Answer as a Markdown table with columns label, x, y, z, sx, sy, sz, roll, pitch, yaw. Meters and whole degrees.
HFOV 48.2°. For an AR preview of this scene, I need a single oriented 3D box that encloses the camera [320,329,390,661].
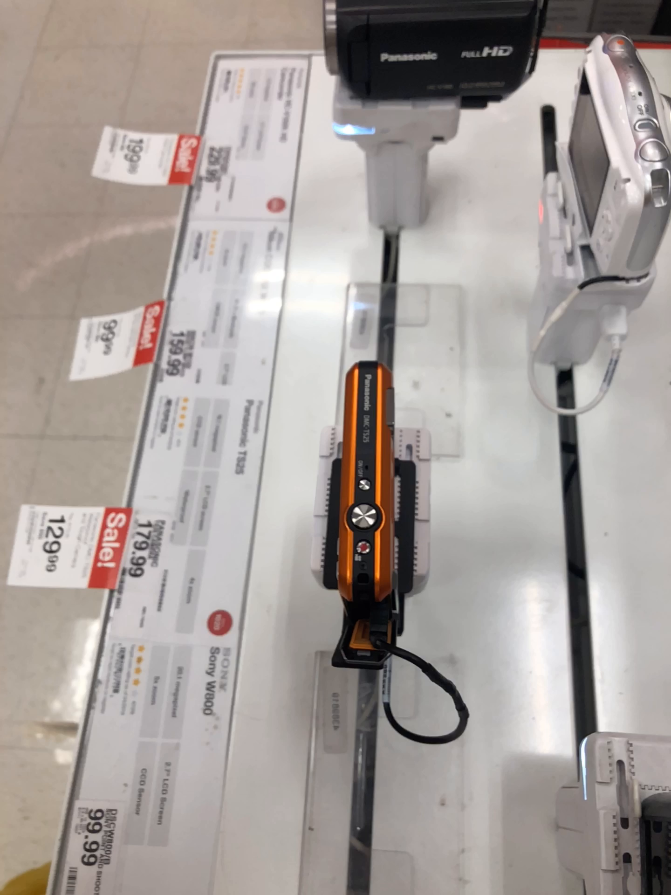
| label | x | y | z | sx | sy | sz | roll | pitch | yaw |
| --- | --- | --- | --- | --- | --- | --- | --- | --- | --- |
| camera | 0.010 | 0.019 | 0.303 | 0.020 | 0.060 | 0.120 | 0 | 65 | 6 |
